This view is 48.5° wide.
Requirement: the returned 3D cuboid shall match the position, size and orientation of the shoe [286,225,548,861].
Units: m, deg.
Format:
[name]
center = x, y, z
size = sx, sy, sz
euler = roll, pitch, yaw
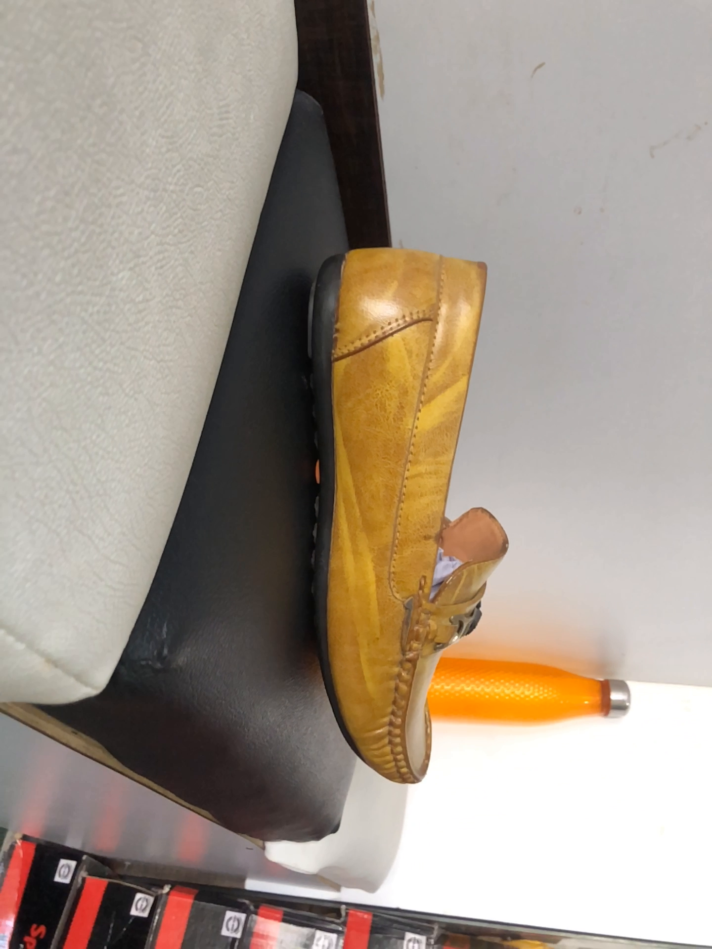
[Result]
[shoe]
center = 0.037, 0.023, 0.402
size = 0.170, 0.090, 0.270
euler = -68, 159, -64
